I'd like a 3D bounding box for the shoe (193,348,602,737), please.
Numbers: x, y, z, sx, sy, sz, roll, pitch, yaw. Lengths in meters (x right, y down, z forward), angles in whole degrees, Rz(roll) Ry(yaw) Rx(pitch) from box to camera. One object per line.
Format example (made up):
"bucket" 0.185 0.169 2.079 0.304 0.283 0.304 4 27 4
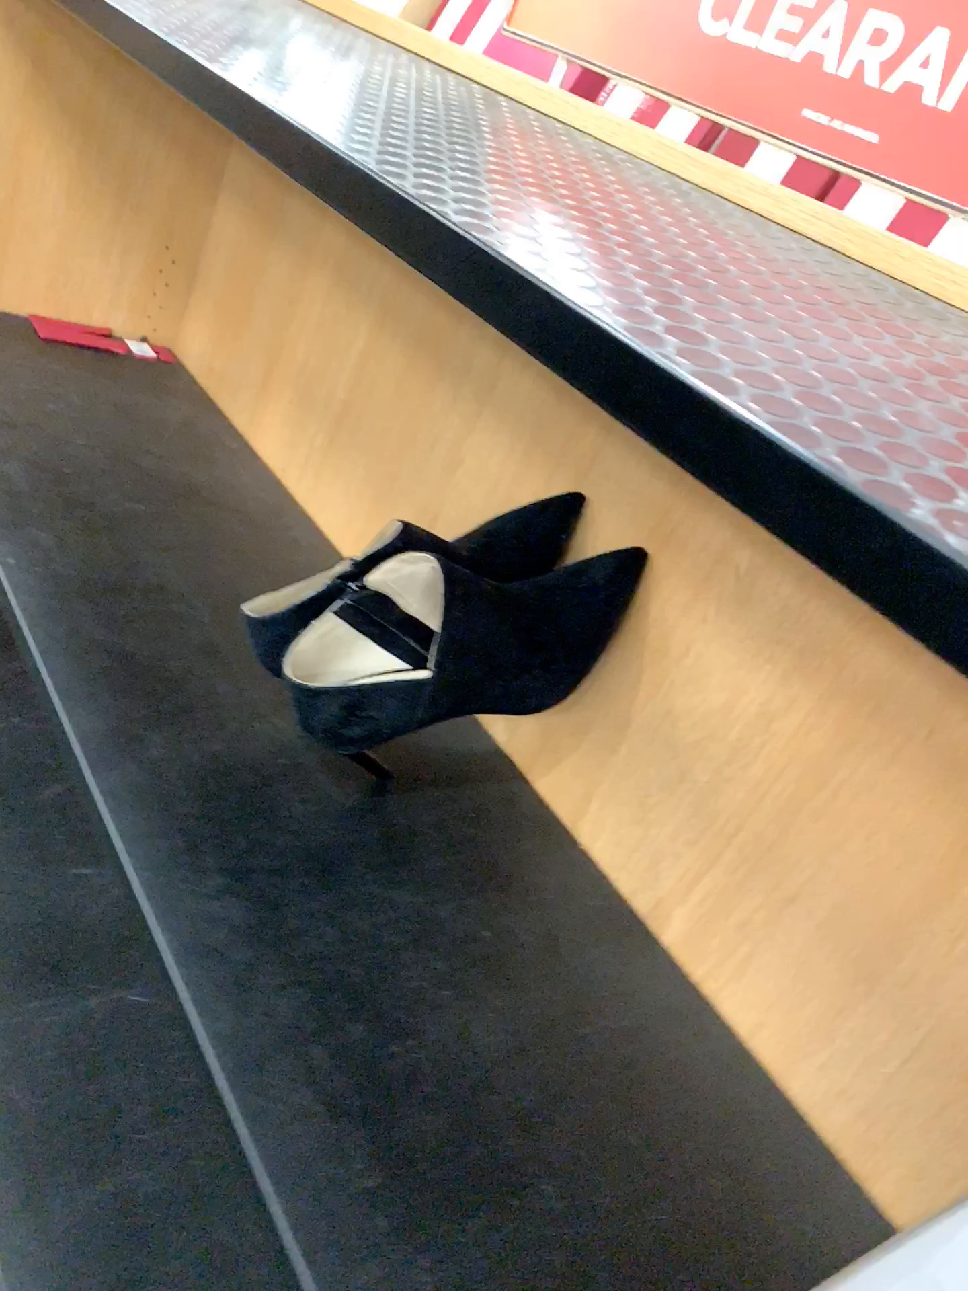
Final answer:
"shoe" -0.059 -0.078 0.766 0.101 0.270 0.140 47 -8 37

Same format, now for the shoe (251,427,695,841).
"shoe" -0.005 -0.012 0.716 0.111 0.280 0.120 46 -8 48
